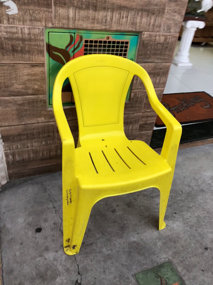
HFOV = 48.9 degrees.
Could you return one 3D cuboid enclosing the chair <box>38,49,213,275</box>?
[{"bbox_3d":[0.073,0.047,1.058,0.641,0.744,0.543,-6,37,-19],"label":"chair"}]
